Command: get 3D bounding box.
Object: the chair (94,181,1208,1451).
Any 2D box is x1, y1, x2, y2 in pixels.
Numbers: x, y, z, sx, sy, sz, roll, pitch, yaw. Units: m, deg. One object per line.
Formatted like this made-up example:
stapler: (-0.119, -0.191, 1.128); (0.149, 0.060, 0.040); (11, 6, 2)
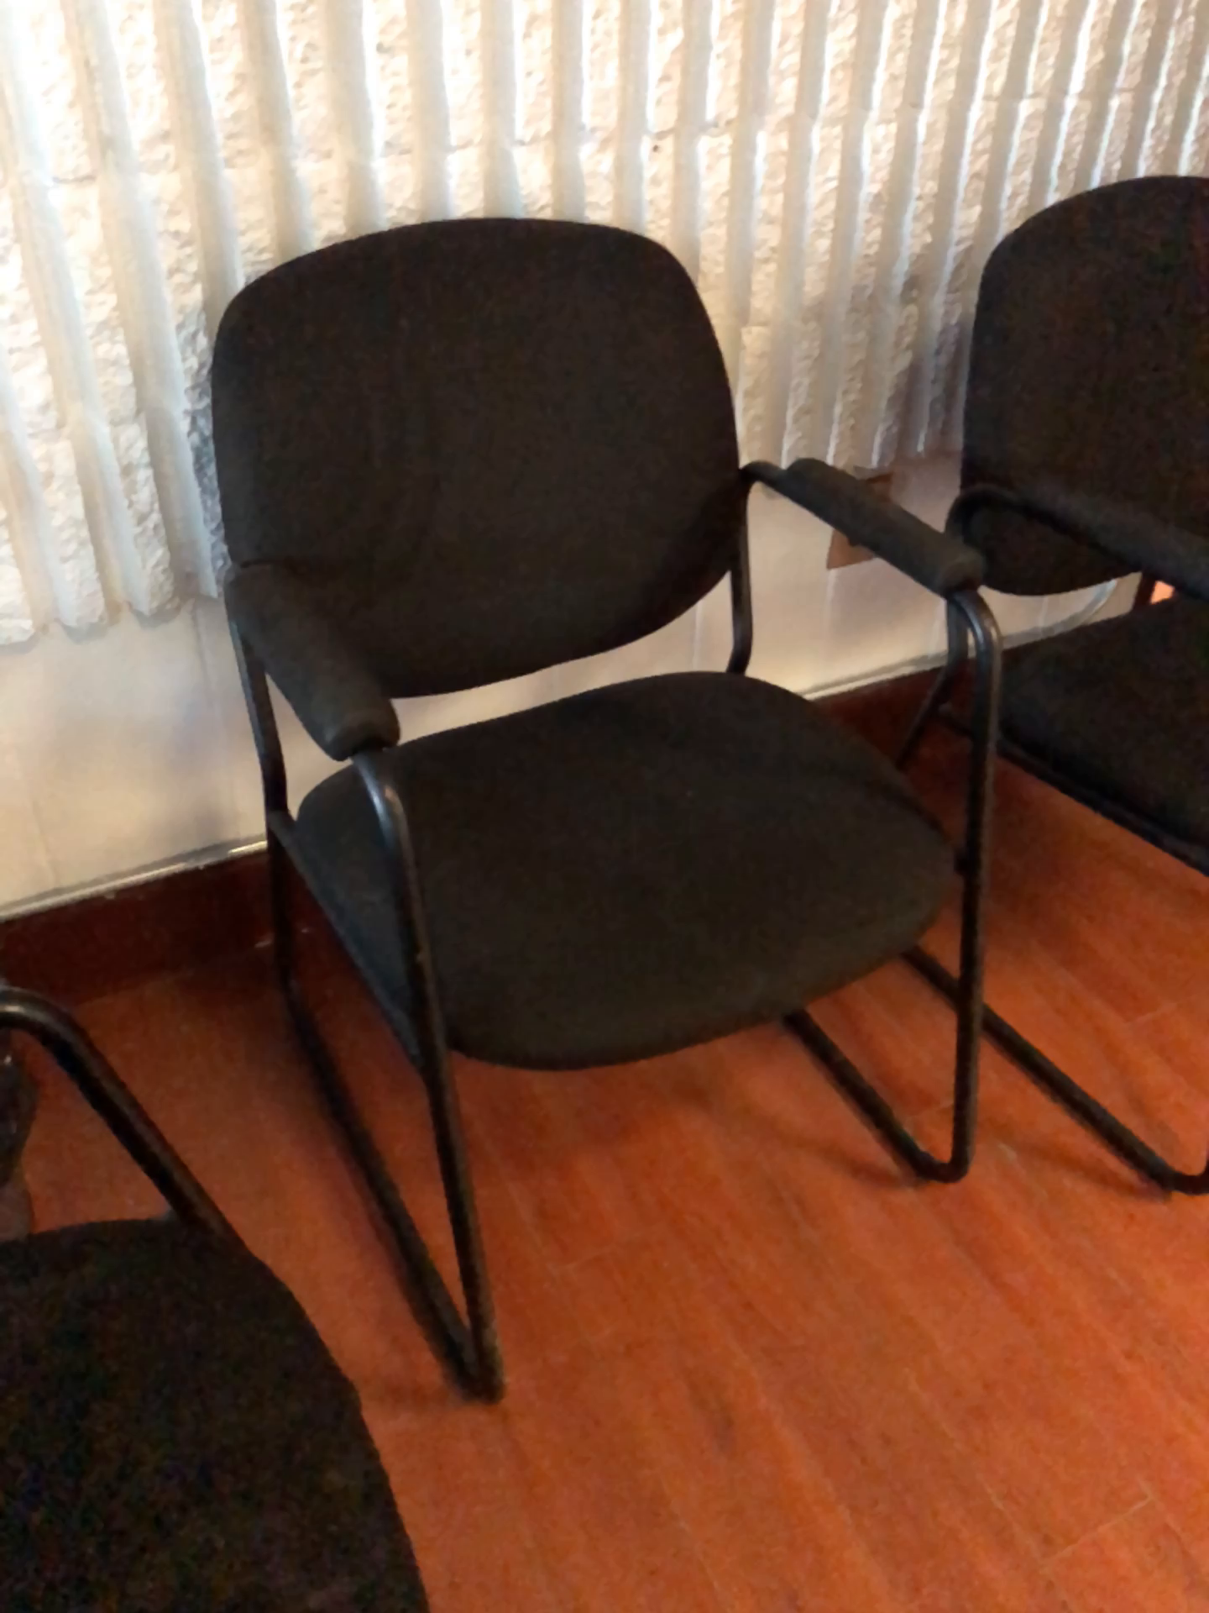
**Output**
chair: (-0.026, -0.056, 1.272); (0.591, 0.794, 0.775); (-17, 42, -23)
